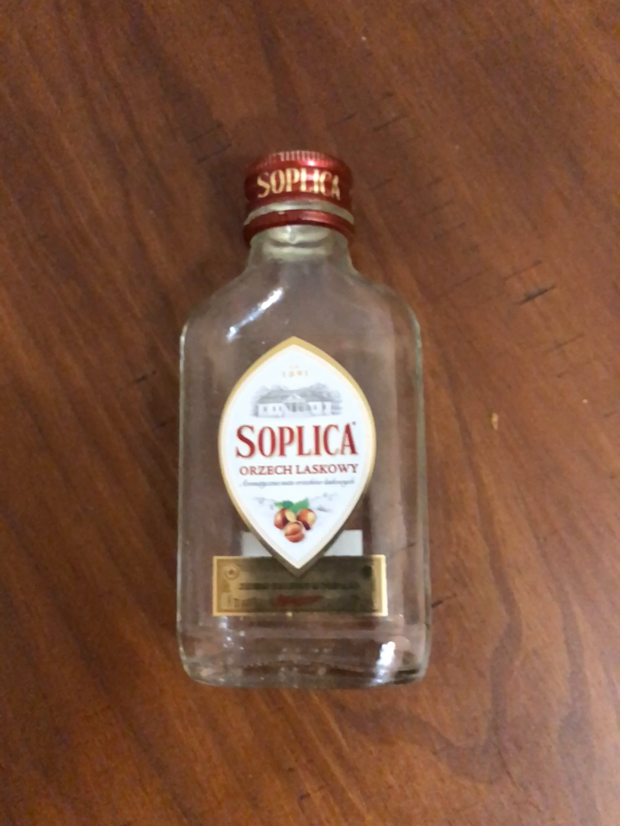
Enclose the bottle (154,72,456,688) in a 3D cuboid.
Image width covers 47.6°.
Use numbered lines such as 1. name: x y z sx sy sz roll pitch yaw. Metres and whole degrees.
1. bottle: -0.002 -0.009 0.187 0.070 0.030 0.150 -2 82 7
